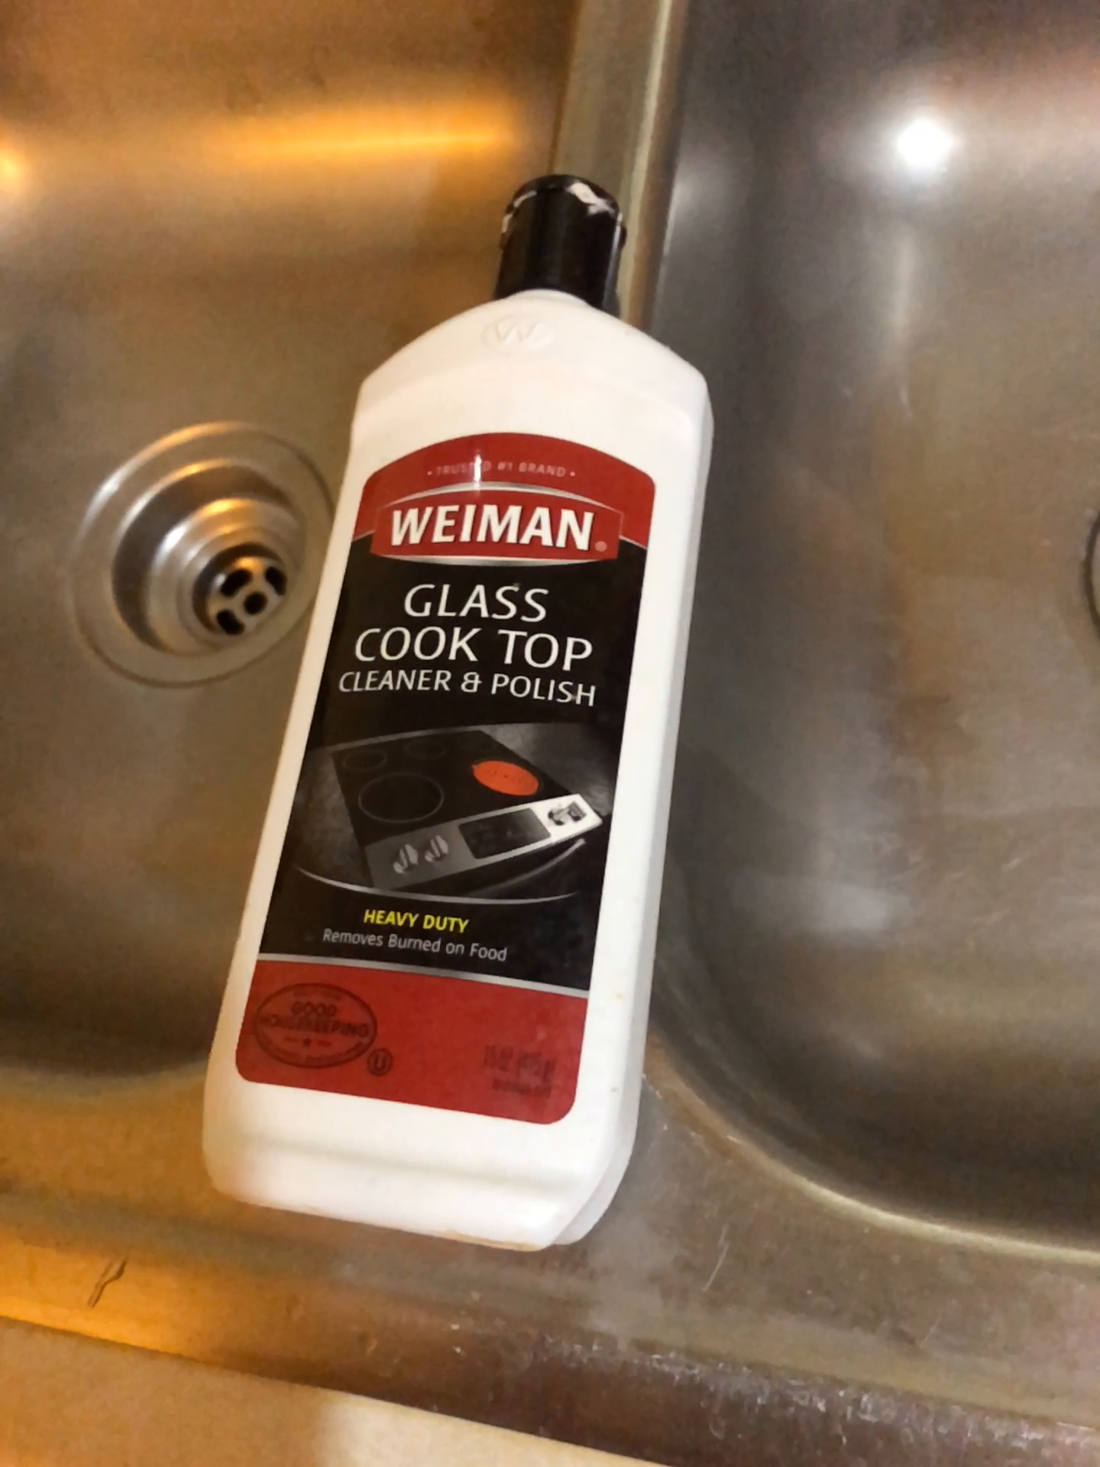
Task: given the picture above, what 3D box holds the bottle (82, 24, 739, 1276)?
[{"bbox_3d":[-0.015,-0.027,0.249,0.080,0.050,0.240,3,70,16],"label":"bottle"}]
